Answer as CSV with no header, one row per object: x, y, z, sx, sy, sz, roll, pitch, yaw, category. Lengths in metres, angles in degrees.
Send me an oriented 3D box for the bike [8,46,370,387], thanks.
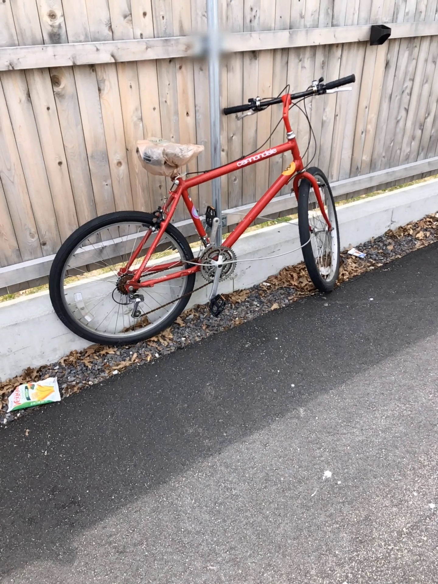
-0.078,-0.459,2.196,1.478,1.001,0.595,-21,35,-25,bike
